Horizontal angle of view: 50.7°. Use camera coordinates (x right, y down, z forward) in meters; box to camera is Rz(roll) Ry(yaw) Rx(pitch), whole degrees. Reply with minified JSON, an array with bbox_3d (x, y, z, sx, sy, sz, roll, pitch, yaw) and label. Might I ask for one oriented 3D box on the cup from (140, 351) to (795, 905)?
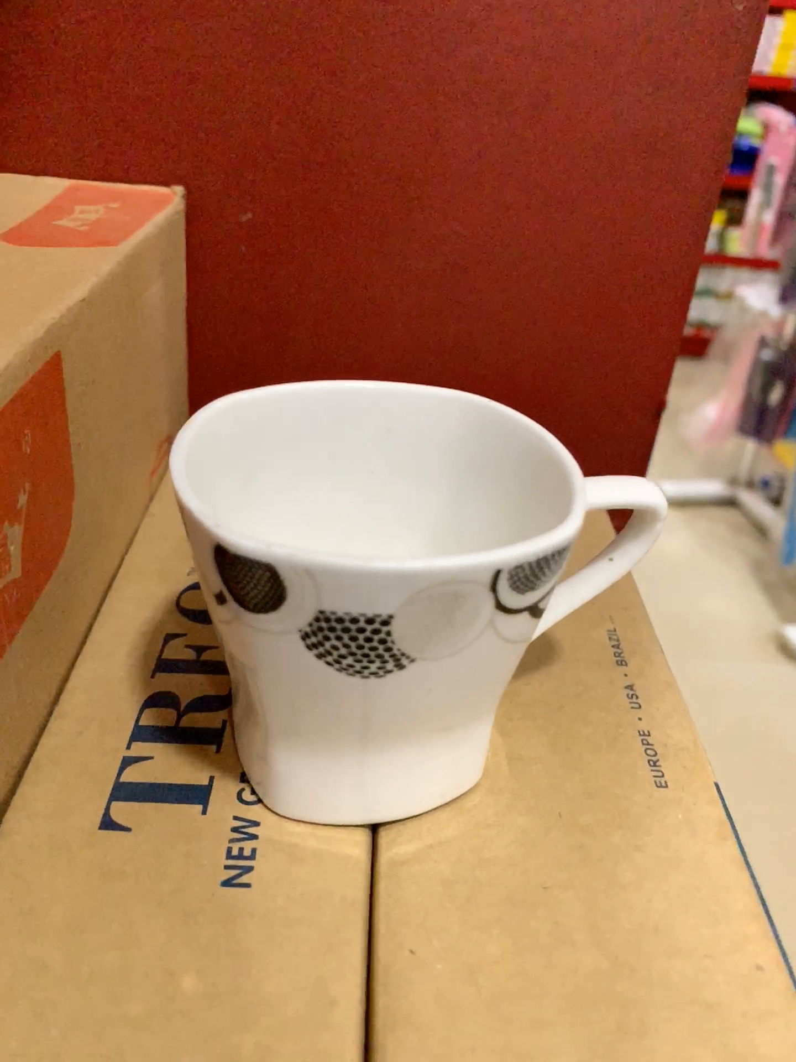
[{"bbox_3d":[0.006,0.010,0.148,0.090,0.060,0.060,-7,33,-19],"label":"cup"}]
